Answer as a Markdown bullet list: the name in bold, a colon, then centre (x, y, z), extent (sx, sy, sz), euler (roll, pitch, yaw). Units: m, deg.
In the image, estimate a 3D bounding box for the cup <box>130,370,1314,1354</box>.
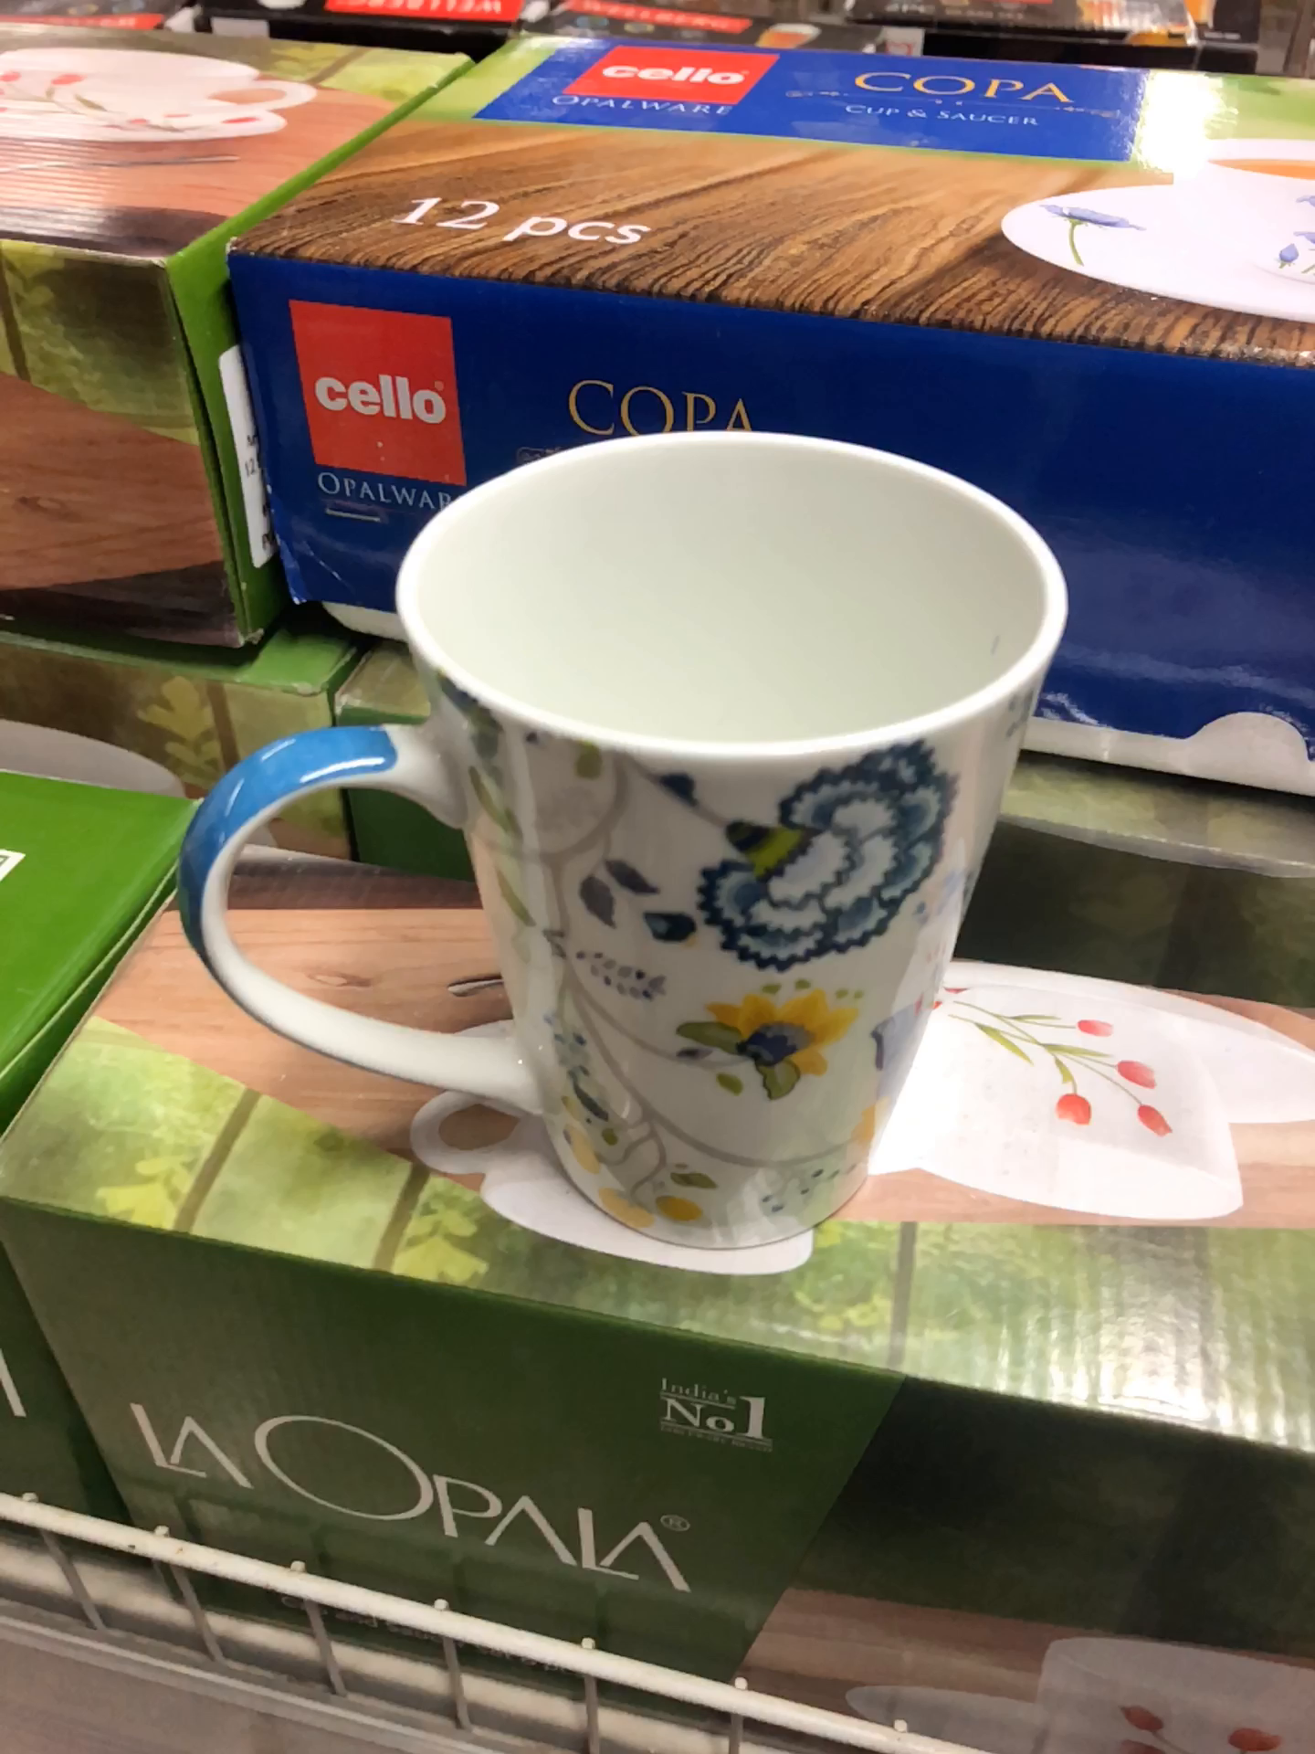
- **cup**: centre (0.003, -0.004, 0.181), extent (0.110, 0.079, 0.070), euler (-9, 44, -9)
